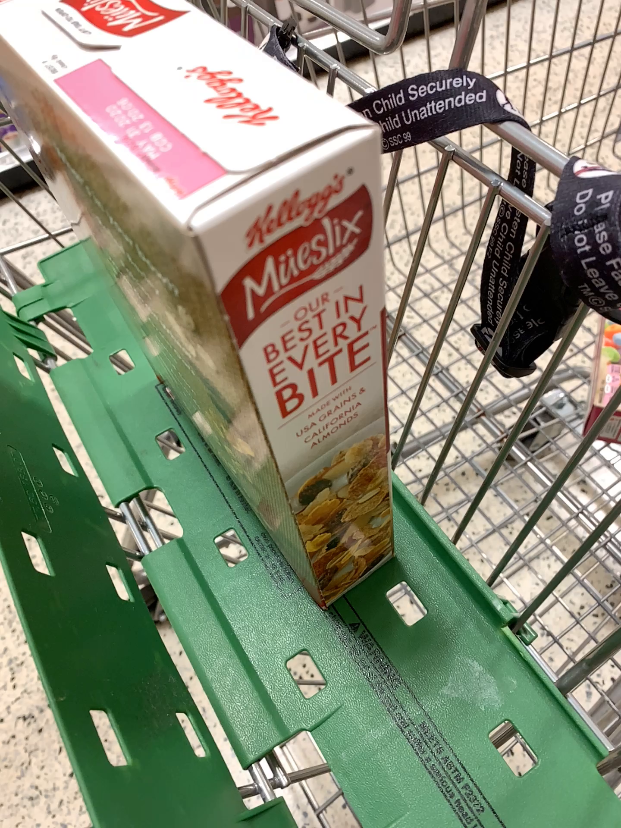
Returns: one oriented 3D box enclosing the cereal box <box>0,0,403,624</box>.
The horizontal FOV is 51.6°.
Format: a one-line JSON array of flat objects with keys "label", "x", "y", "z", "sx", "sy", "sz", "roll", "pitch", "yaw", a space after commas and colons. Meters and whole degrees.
[{"label": "cereal box", "x": -0.044, "y": -0.042, "z": 0.257, "sx": 0.050, "sy": 0.248, "sz": 0.191, "roll": -33, "pitch": 59, "yaw": -12}]
